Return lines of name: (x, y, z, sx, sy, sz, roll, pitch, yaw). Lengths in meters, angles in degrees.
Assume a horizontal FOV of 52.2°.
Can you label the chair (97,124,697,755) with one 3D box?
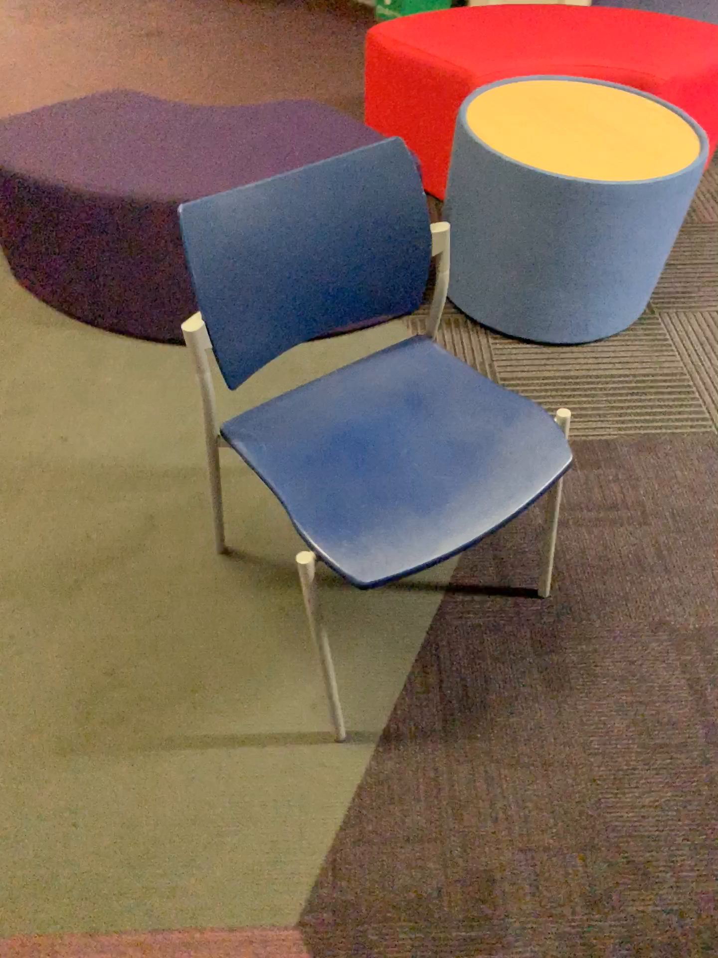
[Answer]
chair: (0.032, -0.067, 1.225, 0.562, 0.694, 0.573, -28, 54, -22)
